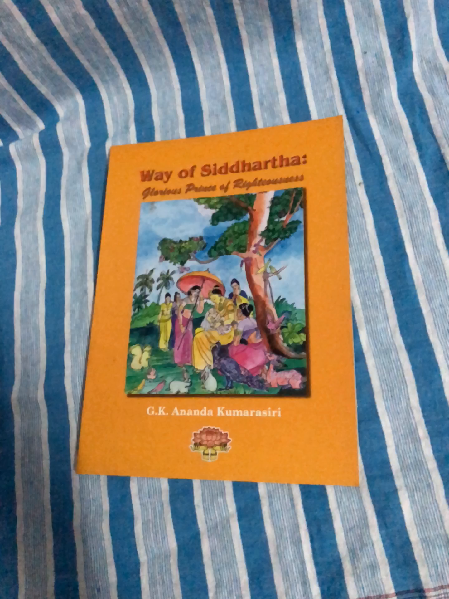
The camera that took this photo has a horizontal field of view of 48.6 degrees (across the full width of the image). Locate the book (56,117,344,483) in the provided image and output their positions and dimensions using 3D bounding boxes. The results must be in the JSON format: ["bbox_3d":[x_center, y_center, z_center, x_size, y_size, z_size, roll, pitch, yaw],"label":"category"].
[{"bbox_3d":[-0.016,-0.006,0.322,0.170,0.010,0.230,-3,73,11],"label":"book"}]
